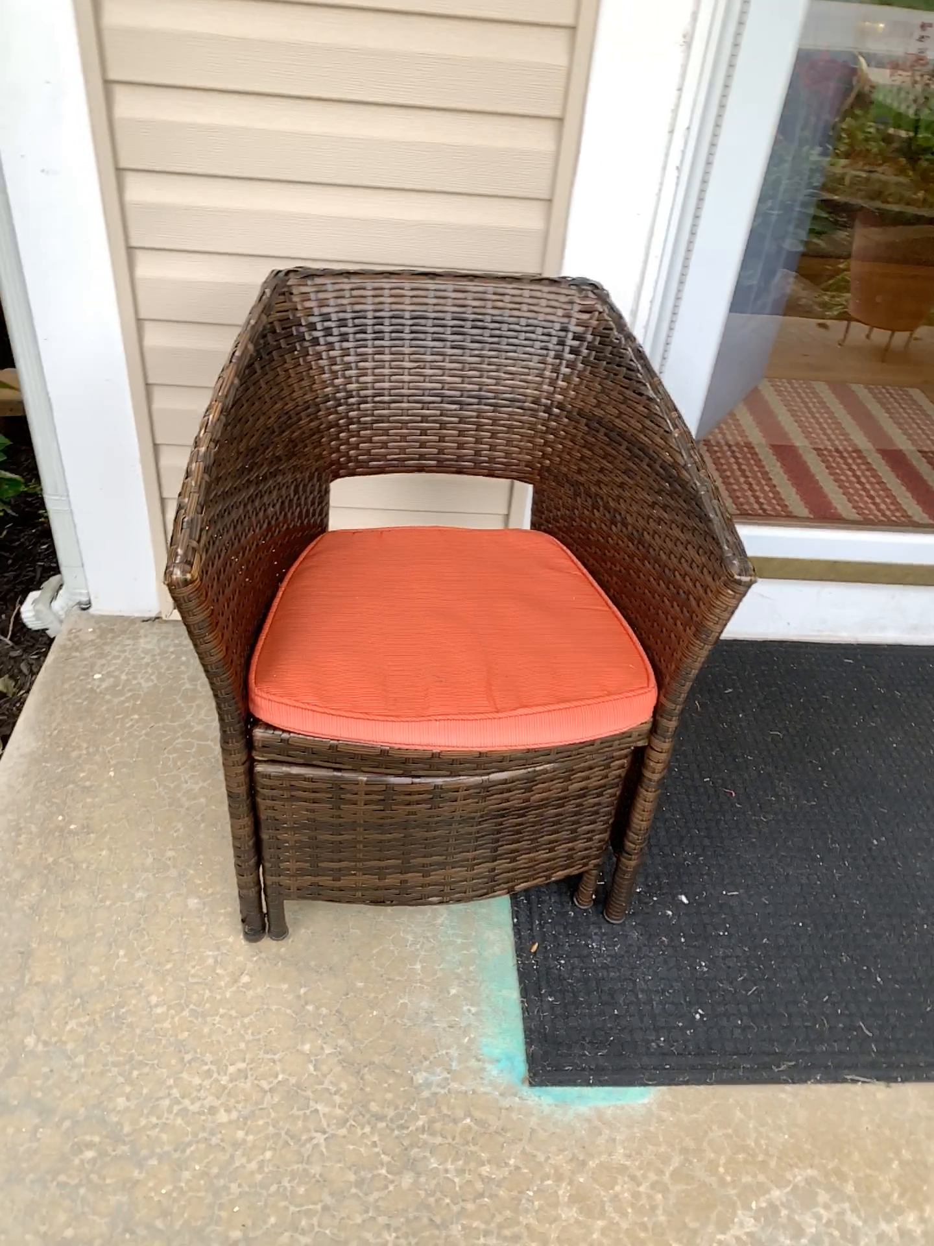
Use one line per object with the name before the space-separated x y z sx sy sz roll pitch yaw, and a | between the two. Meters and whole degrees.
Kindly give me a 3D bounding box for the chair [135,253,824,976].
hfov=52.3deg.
chair | -0.046 -0.021 1.336 0.641 0.757 0.609 -2 39 -10
